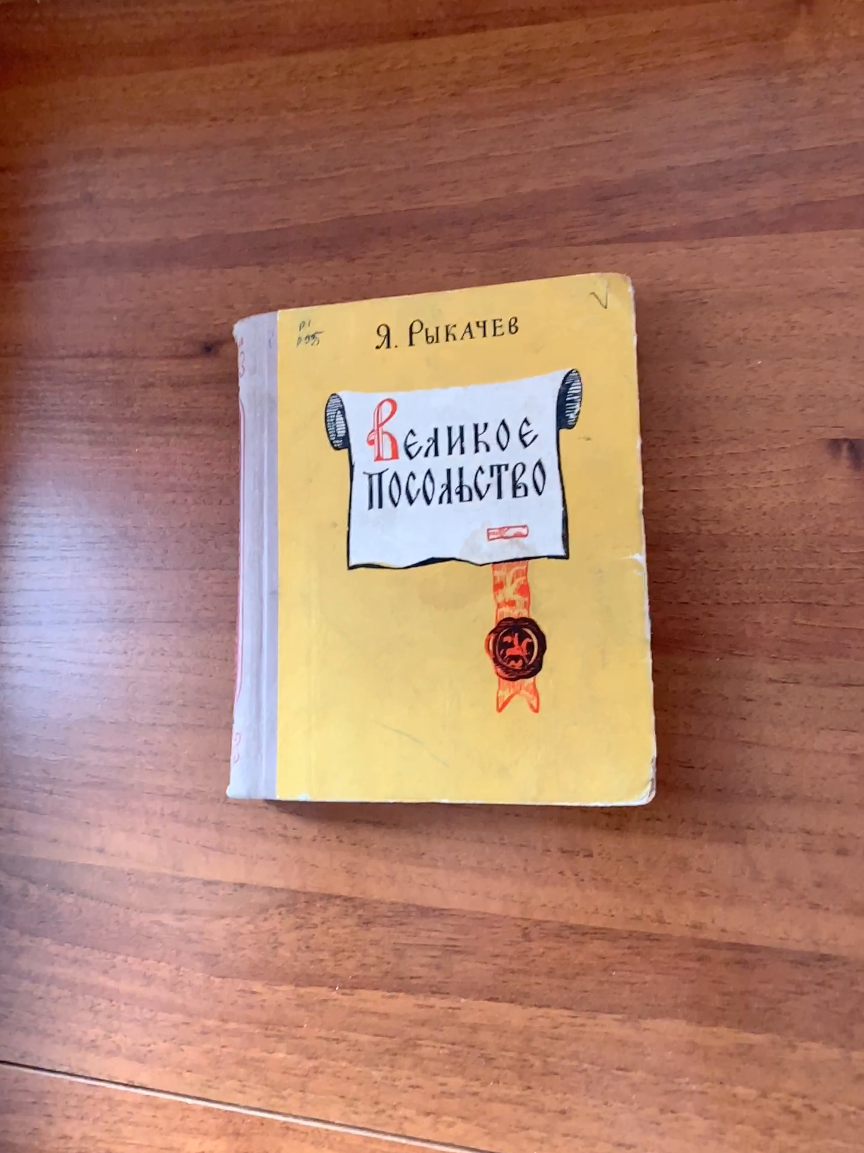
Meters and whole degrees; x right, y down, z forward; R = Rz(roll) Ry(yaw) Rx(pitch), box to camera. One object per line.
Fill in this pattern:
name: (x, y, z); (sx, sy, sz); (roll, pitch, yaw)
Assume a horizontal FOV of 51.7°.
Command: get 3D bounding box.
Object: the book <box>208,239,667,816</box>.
book: (-0.001, -0.014, 0.287); (0.142, 0.023, 0.170); (-2, 84, 13)
